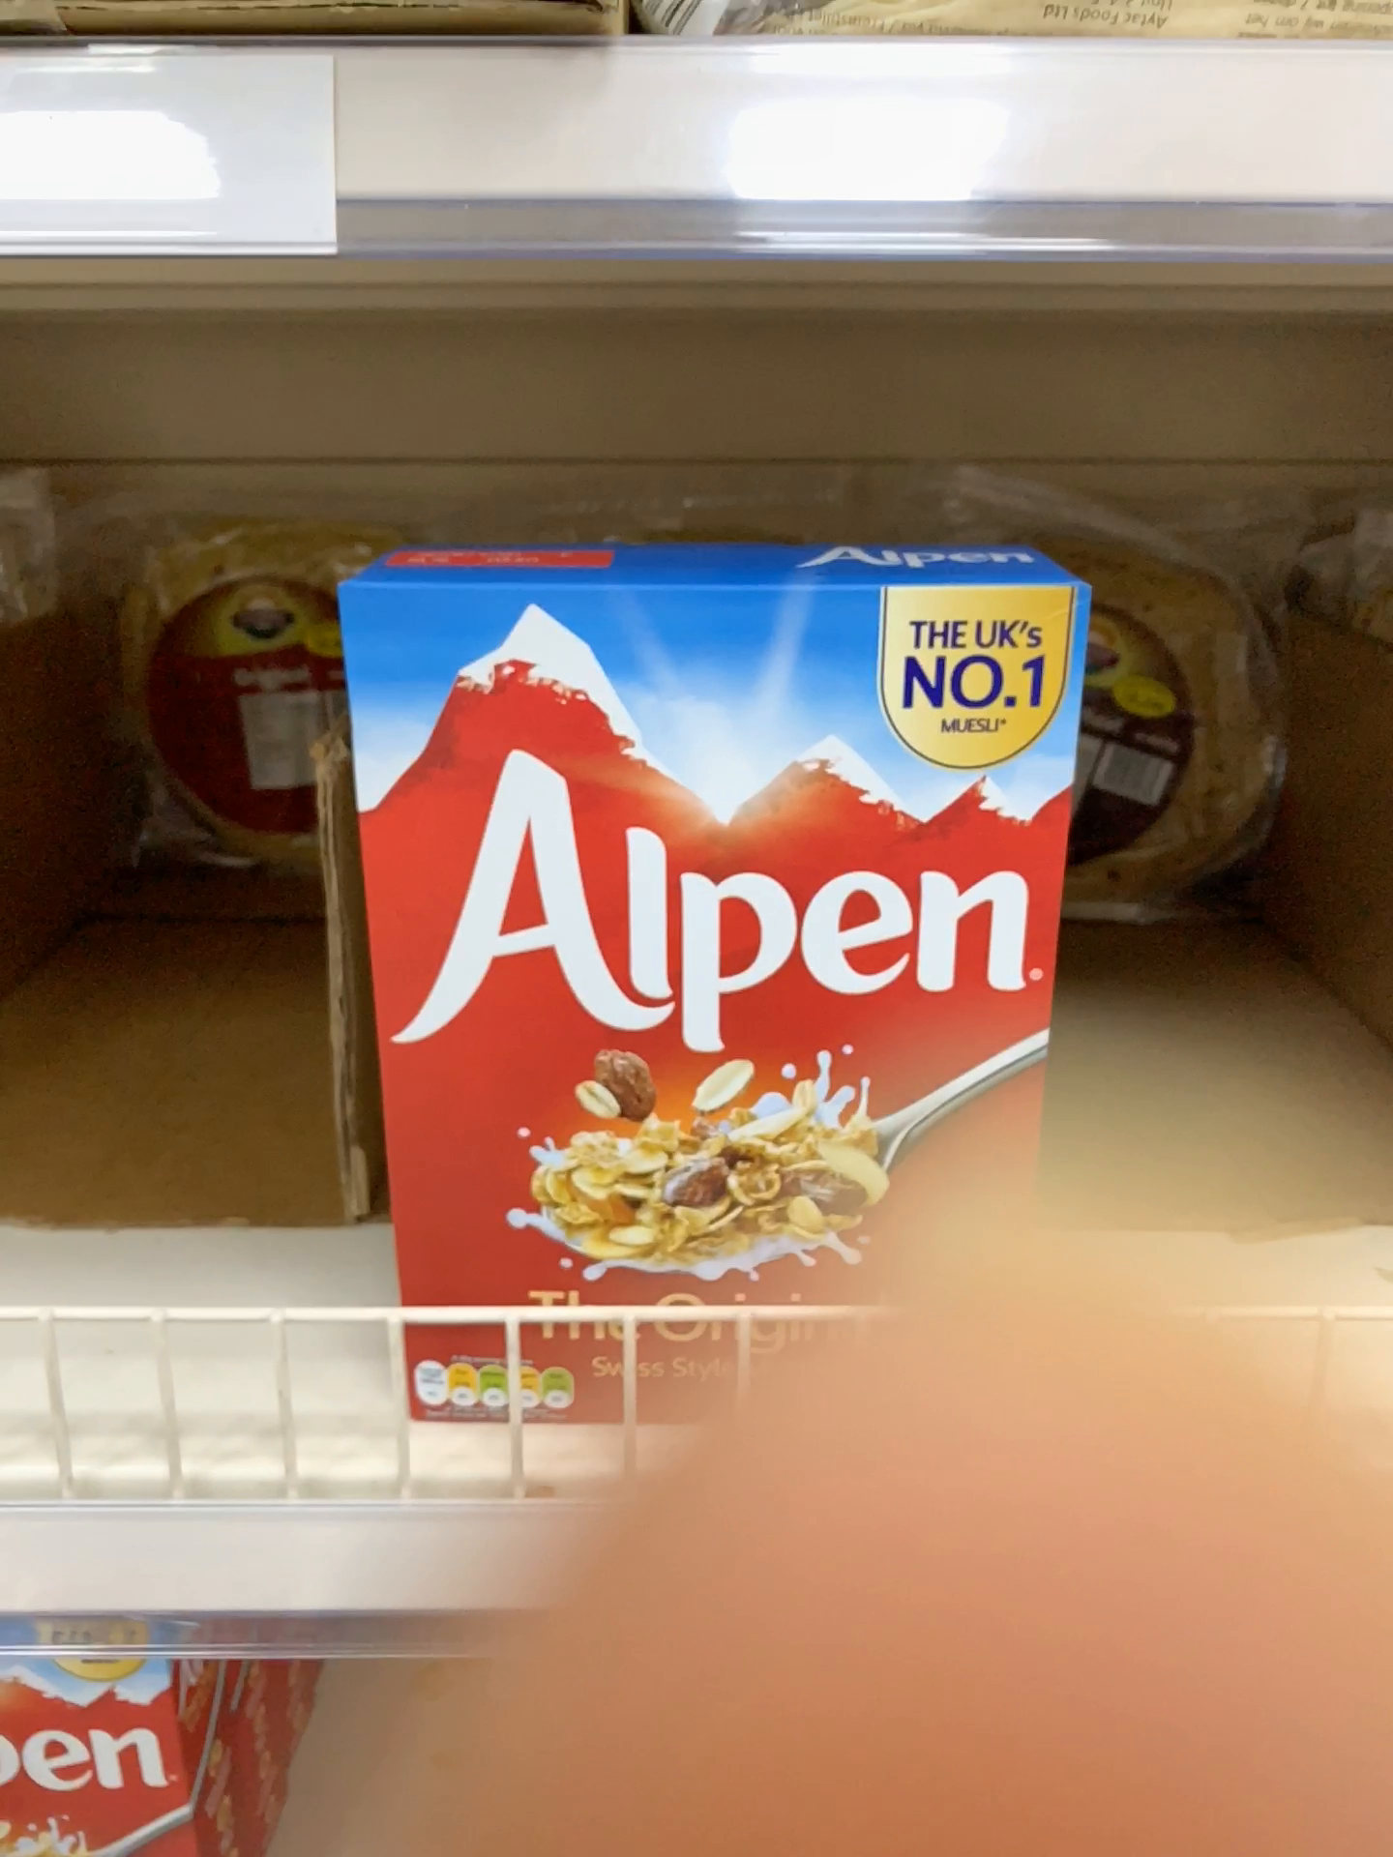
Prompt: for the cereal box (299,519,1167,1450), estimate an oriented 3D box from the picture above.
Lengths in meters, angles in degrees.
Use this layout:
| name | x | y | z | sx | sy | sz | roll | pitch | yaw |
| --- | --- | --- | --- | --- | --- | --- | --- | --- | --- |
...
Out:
| name | x | y | z | sx | sy | sz | roll | pitch | yaw |
| --- | --- | --- | --- | --- | --- | --- | --- | --- | --- |
| cereal box | 0.008 | 0.016 | 0.389 | 0.190 | 0.238 | 0.070 | 0 | 19 | 0 |
